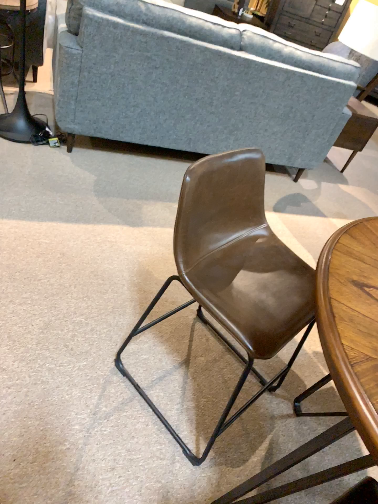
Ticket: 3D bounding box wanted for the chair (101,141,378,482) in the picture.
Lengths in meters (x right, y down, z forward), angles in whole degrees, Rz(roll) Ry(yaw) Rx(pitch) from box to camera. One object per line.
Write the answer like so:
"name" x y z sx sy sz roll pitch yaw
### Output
"chair" 0.180 0.168 1.296 0.602 0.806 0.581 -22 56 -41
